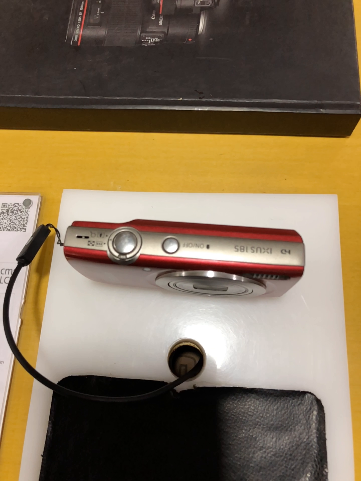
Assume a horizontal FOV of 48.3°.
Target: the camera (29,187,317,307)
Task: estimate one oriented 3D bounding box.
[{"bbox_3d":[-0.001,0.005,0.167,0.100,0.050,0.030,4,73,4],"label":"camera"}]
